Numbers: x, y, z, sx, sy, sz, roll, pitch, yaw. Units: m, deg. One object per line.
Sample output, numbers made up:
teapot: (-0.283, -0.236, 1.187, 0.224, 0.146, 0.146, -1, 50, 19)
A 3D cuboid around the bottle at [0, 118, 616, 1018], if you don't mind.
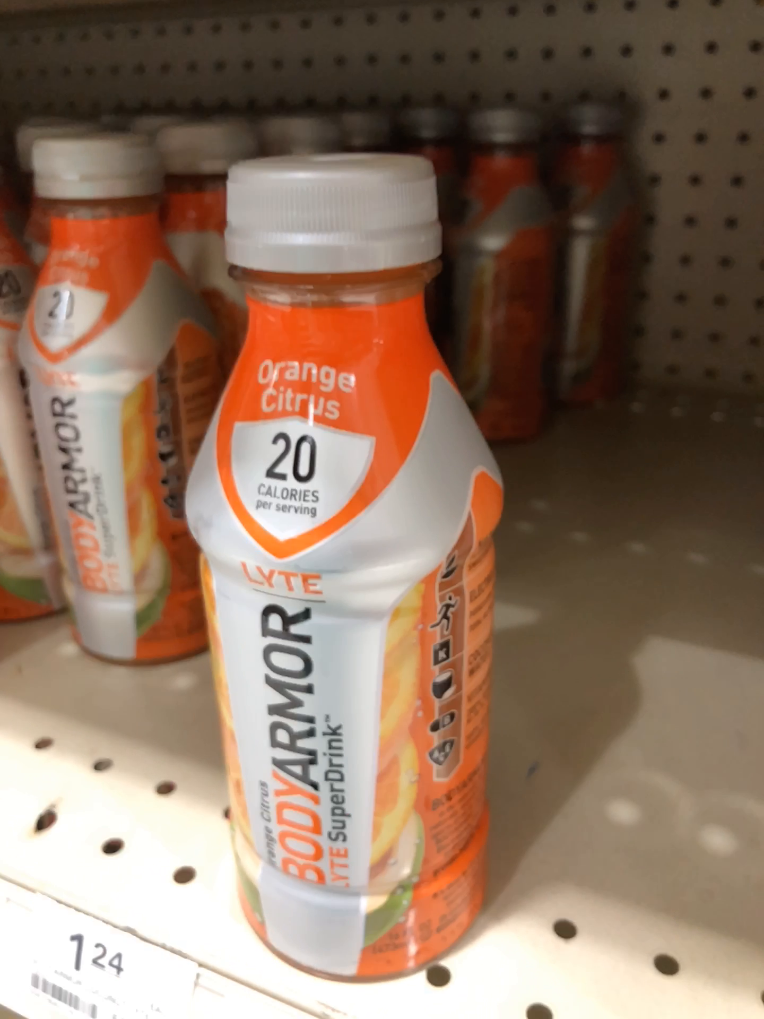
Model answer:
bottle: (-0.005, 0.016, 0.188, 0.080, 0.179, 0.080, -1, 27, 1)
